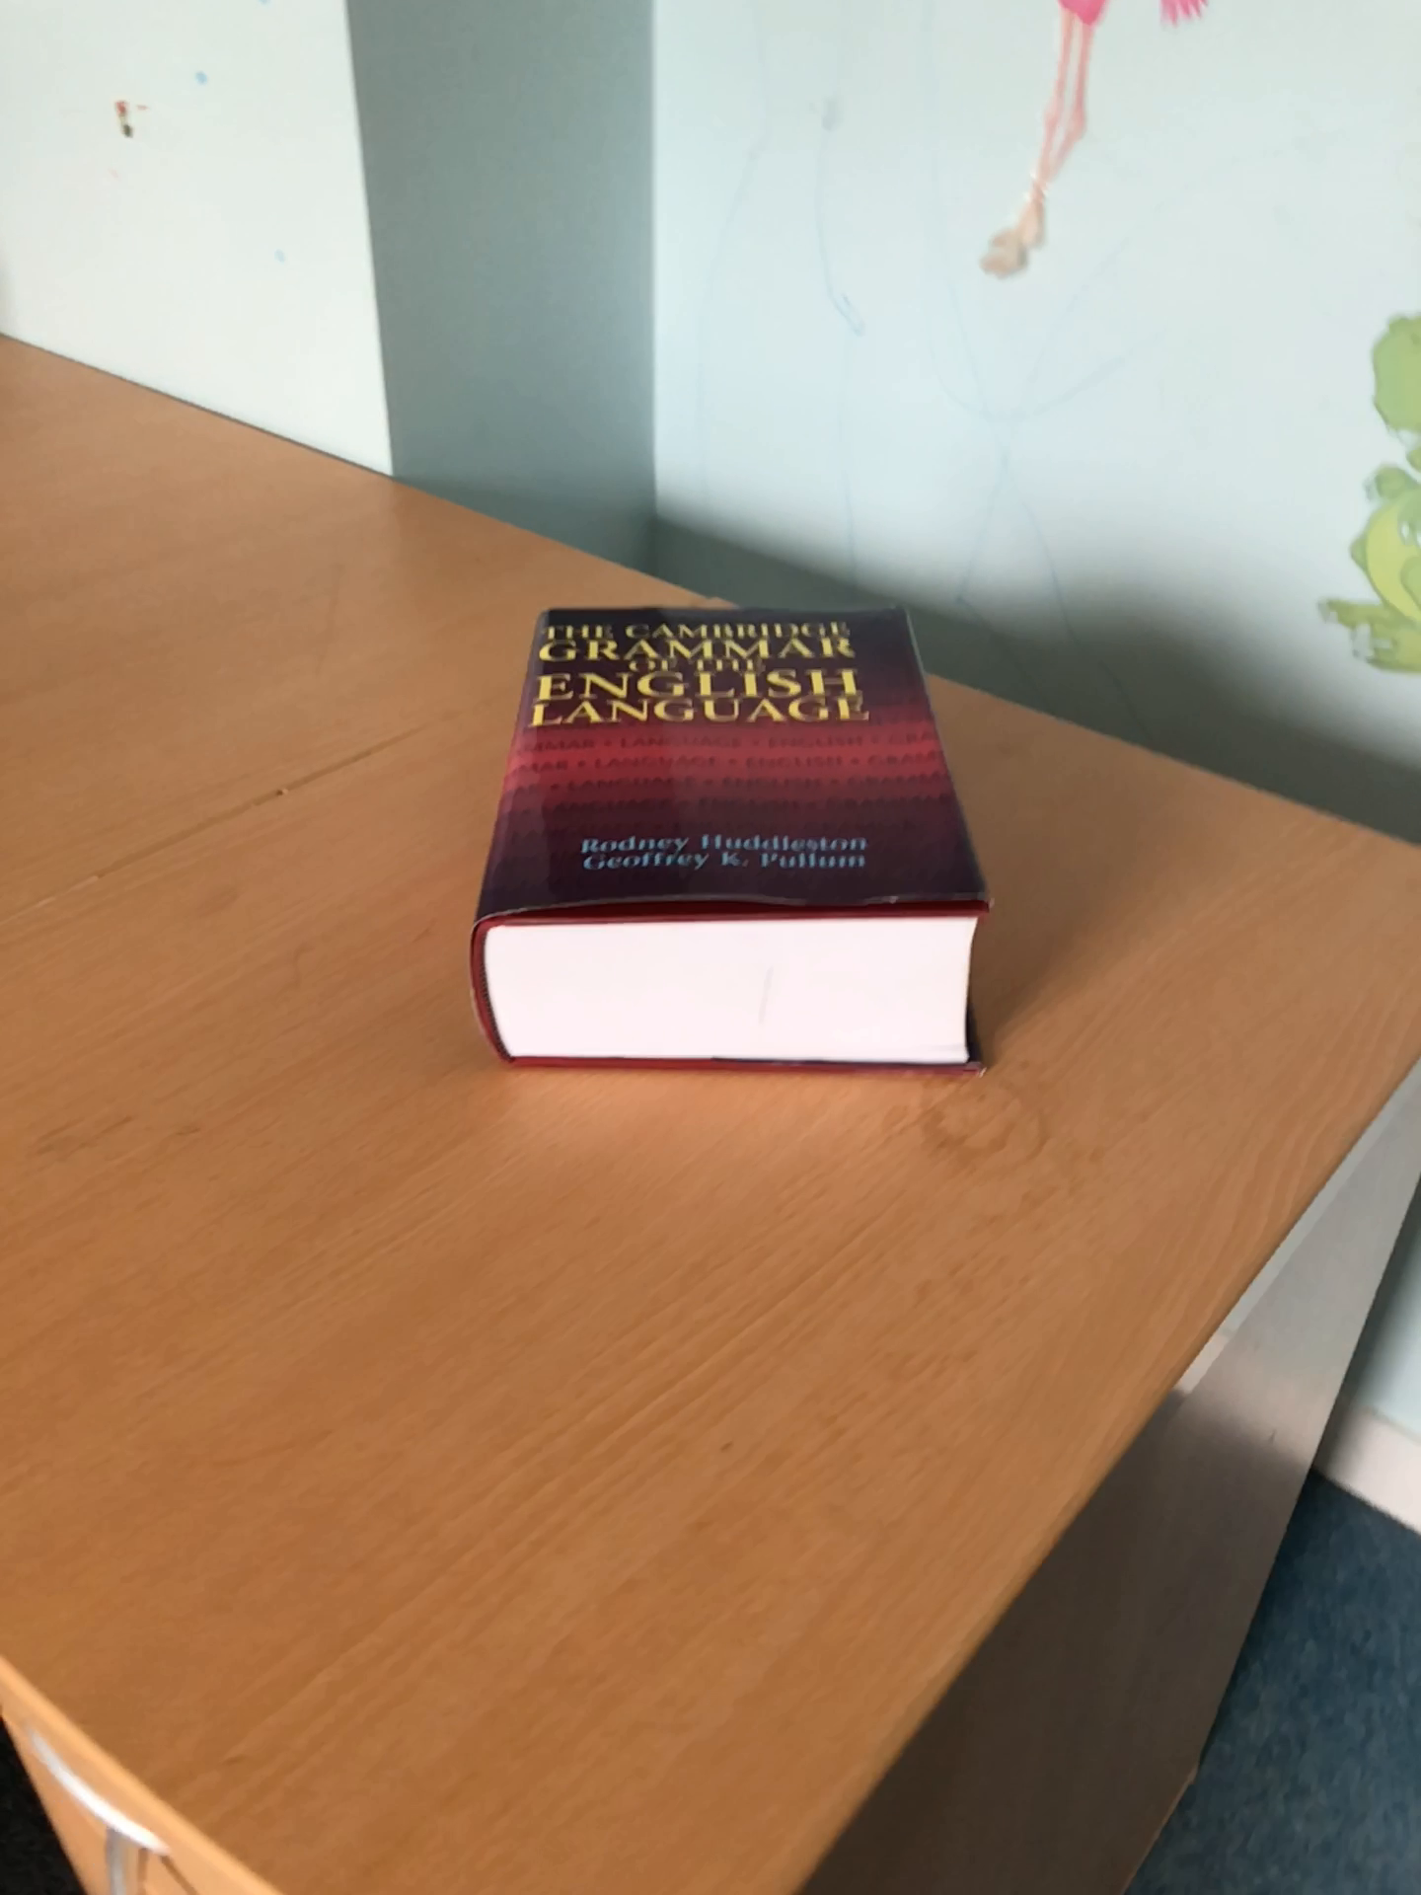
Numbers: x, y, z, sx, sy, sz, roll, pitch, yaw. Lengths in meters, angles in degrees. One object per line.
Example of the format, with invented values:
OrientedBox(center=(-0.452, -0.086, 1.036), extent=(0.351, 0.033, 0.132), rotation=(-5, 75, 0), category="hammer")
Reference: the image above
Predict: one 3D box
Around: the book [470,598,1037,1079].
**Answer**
OrientedBox(center=(0.016, -0.059, 0.661), extent=(0.194, 0.070, 0.262), rotation=(0, 37, 1), category="book")
